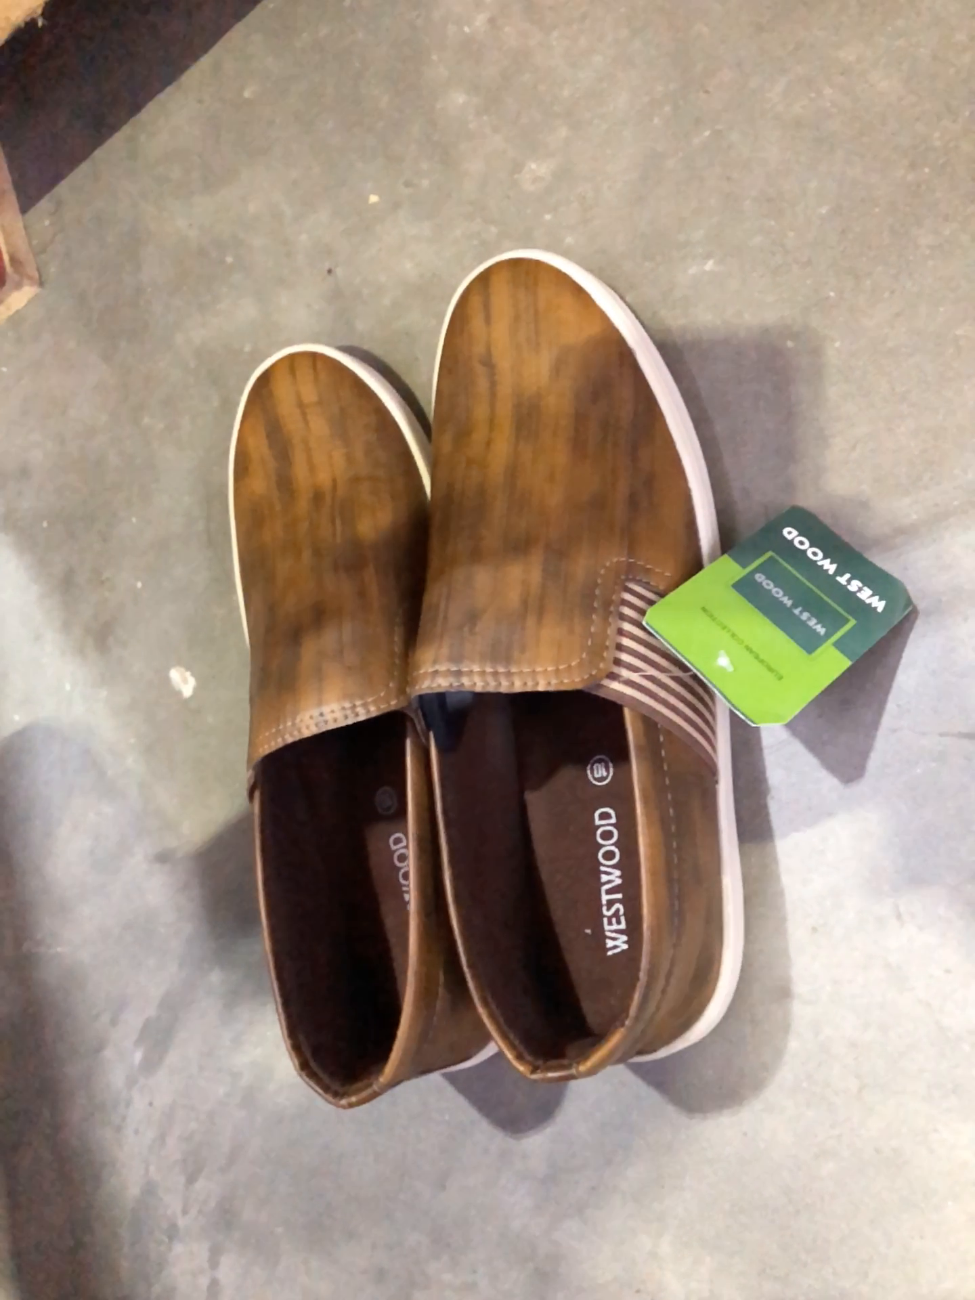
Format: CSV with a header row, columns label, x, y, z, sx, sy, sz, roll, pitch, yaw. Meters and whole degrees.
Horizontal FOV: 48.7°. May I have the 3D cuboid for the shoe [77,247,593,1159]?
label,x,y,z,sx,sy,sz,roll,pitch,yaw
shoe,-0.060,0.018,0.406,0.100,0.100,0.290,-19,76,25

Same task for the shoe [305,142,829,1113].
label,x,y,z,sx,sy,sz,roll,pitch,yaw
shoe,0.026,-0.004,0.383,0.110,0.100,0.290,-14,78,26
